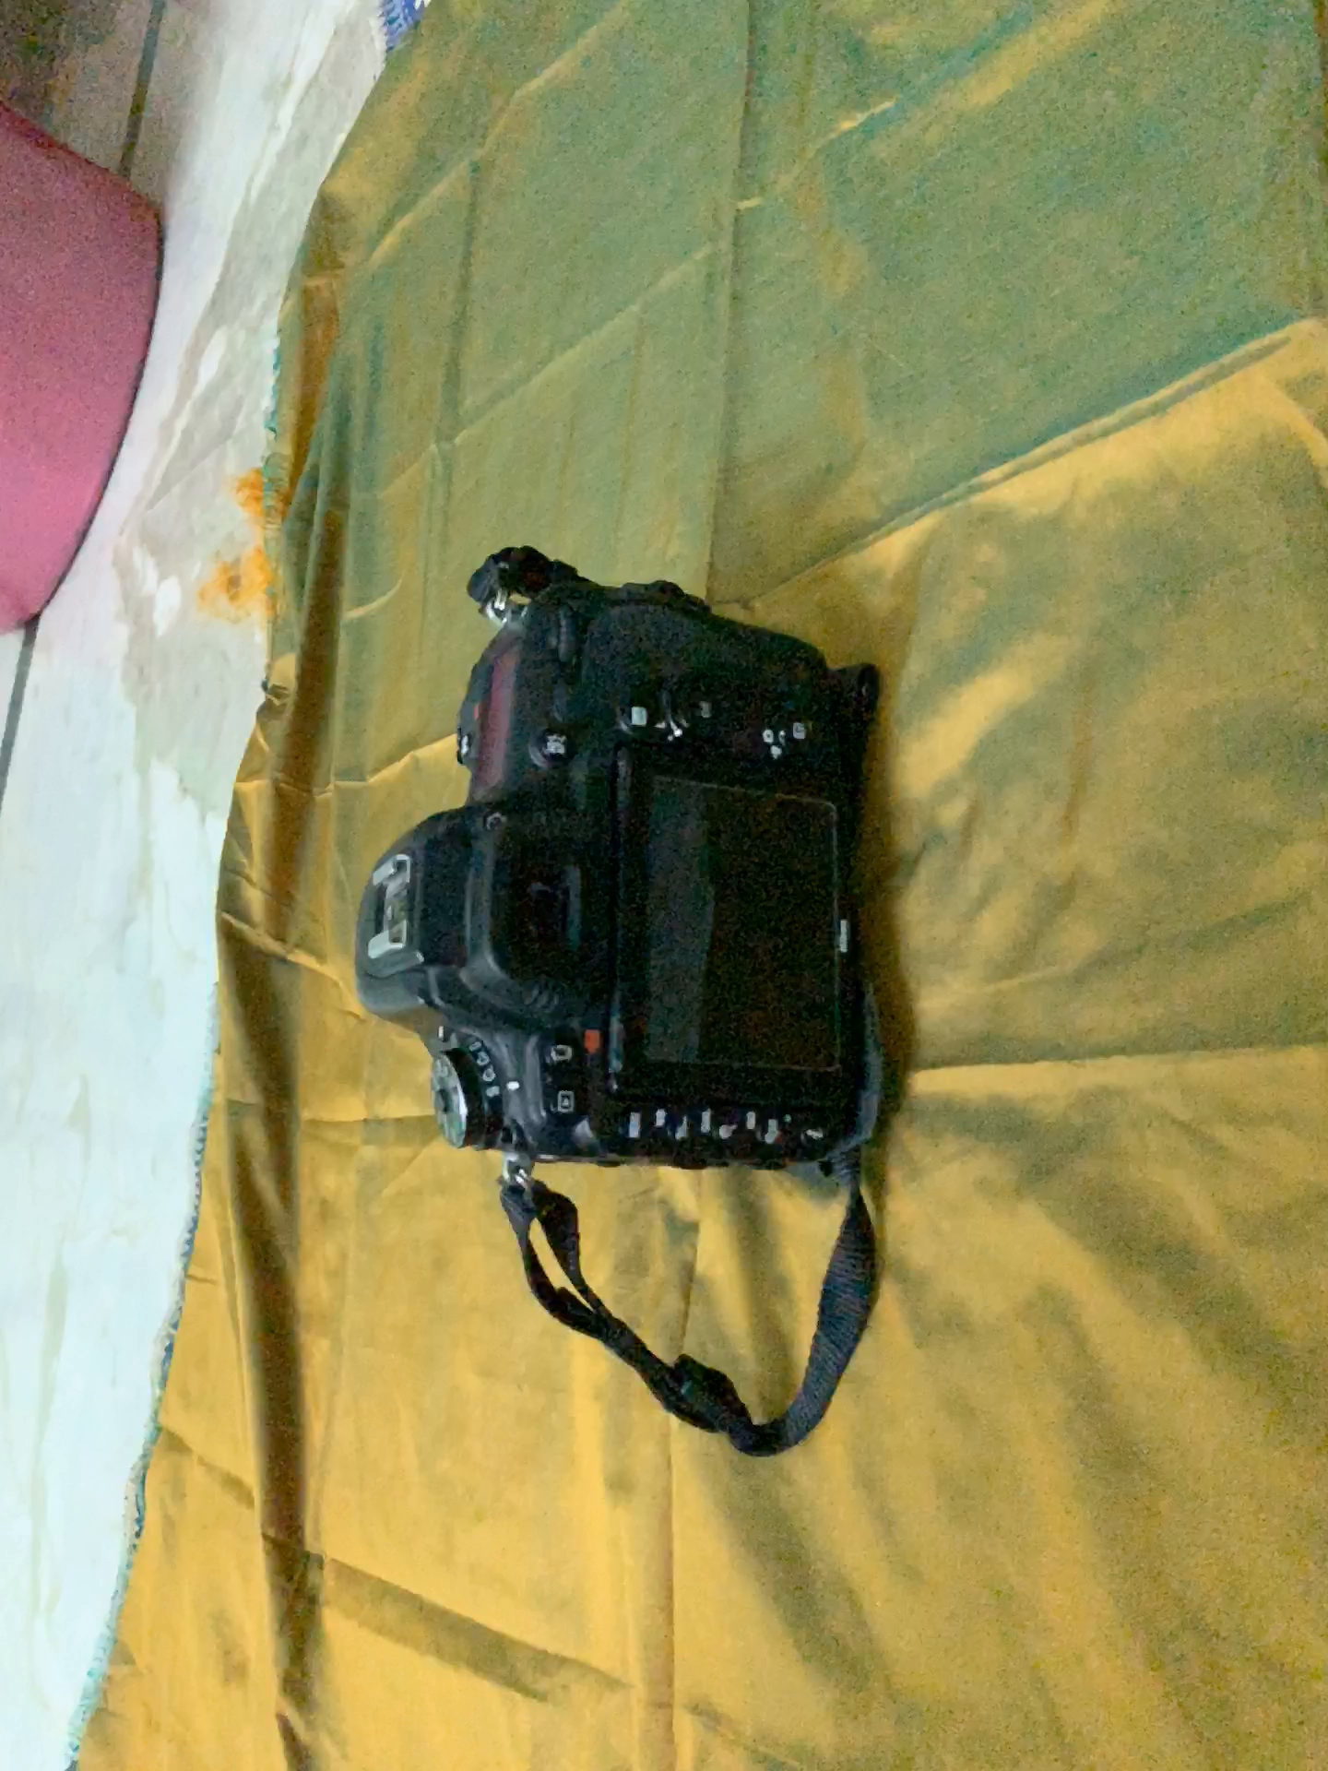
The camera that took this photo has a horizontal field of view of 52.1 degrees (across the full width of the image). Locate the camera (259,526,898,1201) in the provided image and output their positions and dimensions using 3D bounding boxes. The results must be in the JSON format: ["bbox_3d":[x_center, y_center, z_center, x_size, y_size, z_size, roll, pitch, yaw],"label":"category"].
[{"bbox_3d":[-0.027,0.010,0.360,0.132,0.119,0.135,154,123,-63],"label":"camera"}]
